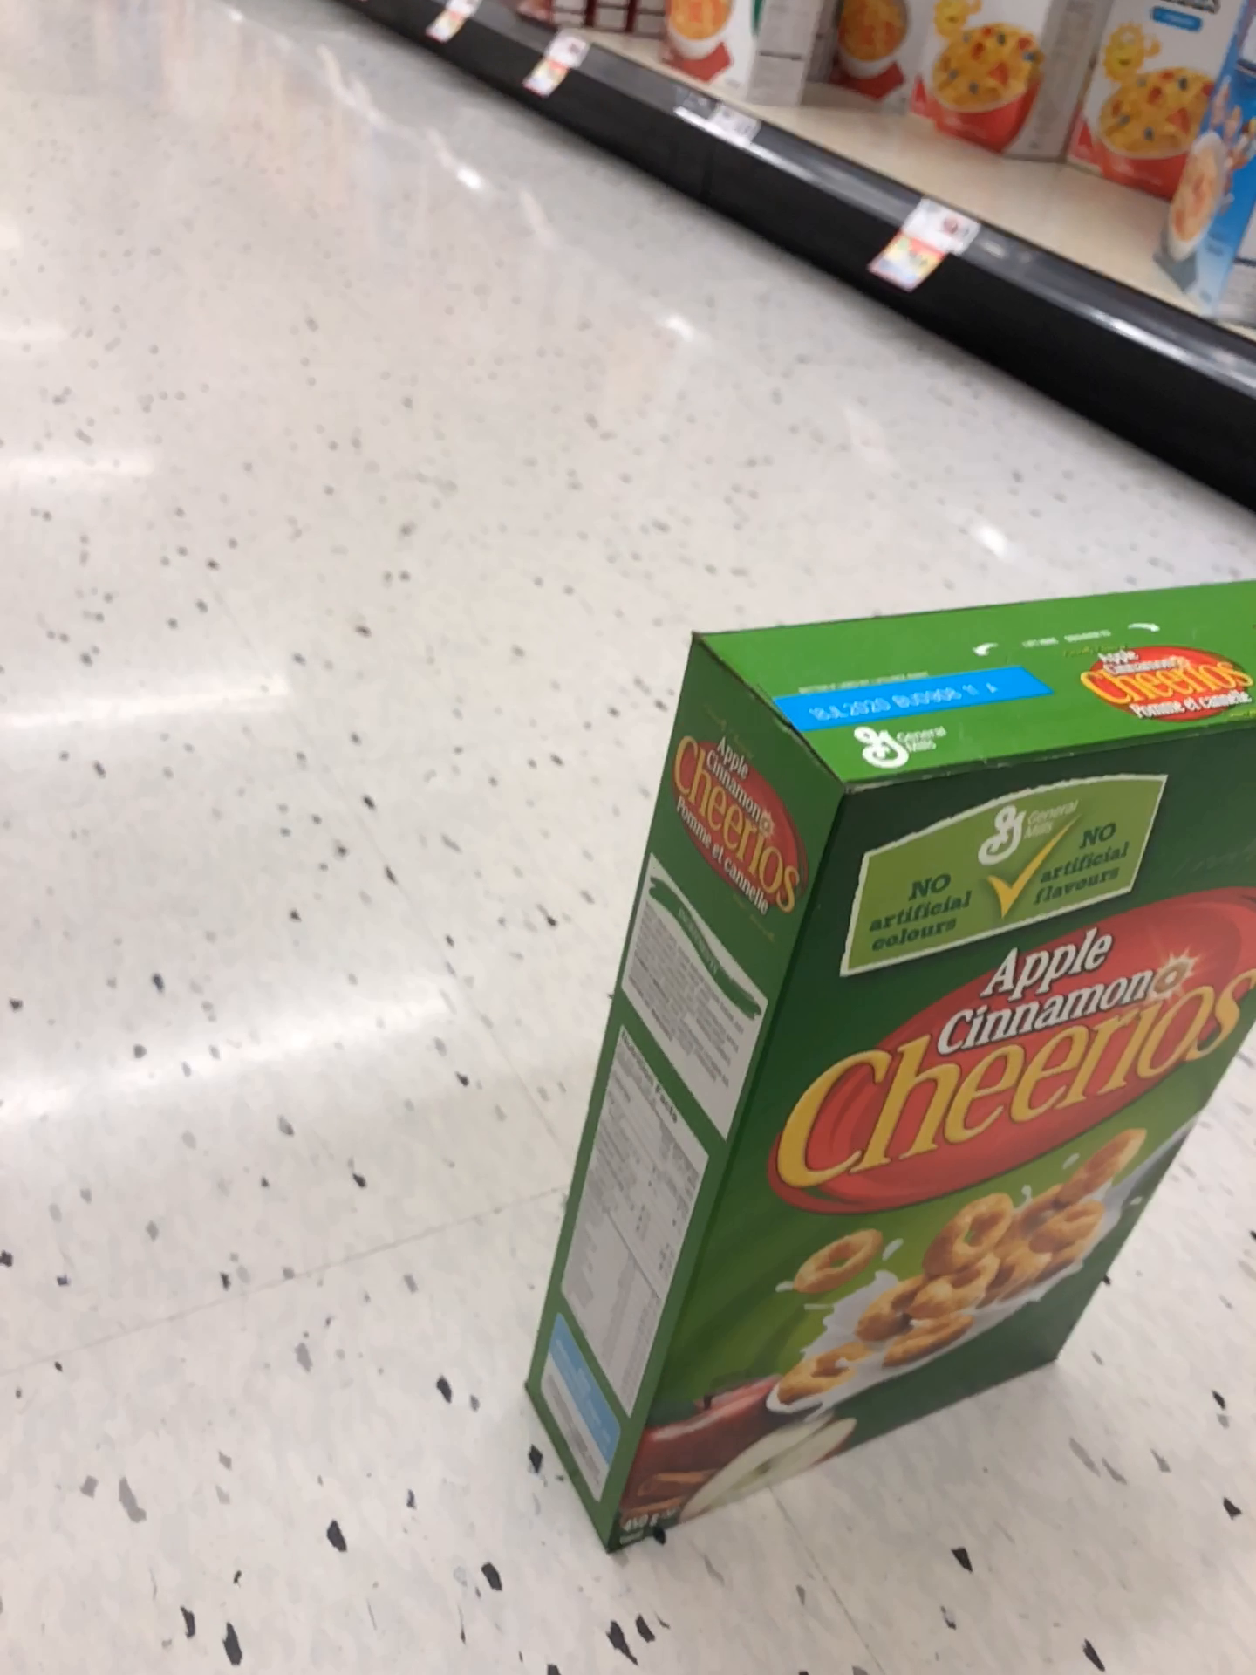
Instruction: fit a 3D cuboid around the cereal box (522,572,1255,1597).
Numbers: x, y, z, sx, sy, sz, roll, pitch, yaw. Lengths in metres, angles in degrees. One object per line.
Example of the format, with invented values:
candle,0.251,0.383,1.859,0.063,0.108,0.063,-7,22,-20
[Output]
cereal box,0.087,0.073,0.385,0.190,0.278,0.060,-10,40,-28
